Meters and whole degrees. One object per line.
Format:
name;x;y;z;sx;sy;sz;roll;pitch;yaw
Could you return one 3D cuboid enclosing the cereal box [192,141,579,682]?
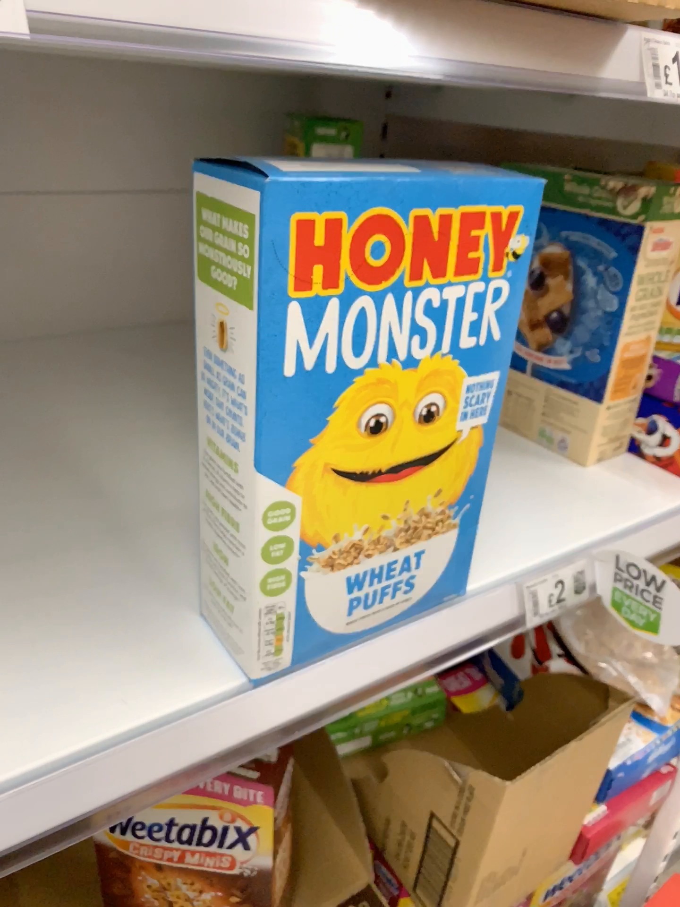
cereal box;0.019;-0.031;0.456;0.201;0.297;0.090;-13;32;-32
